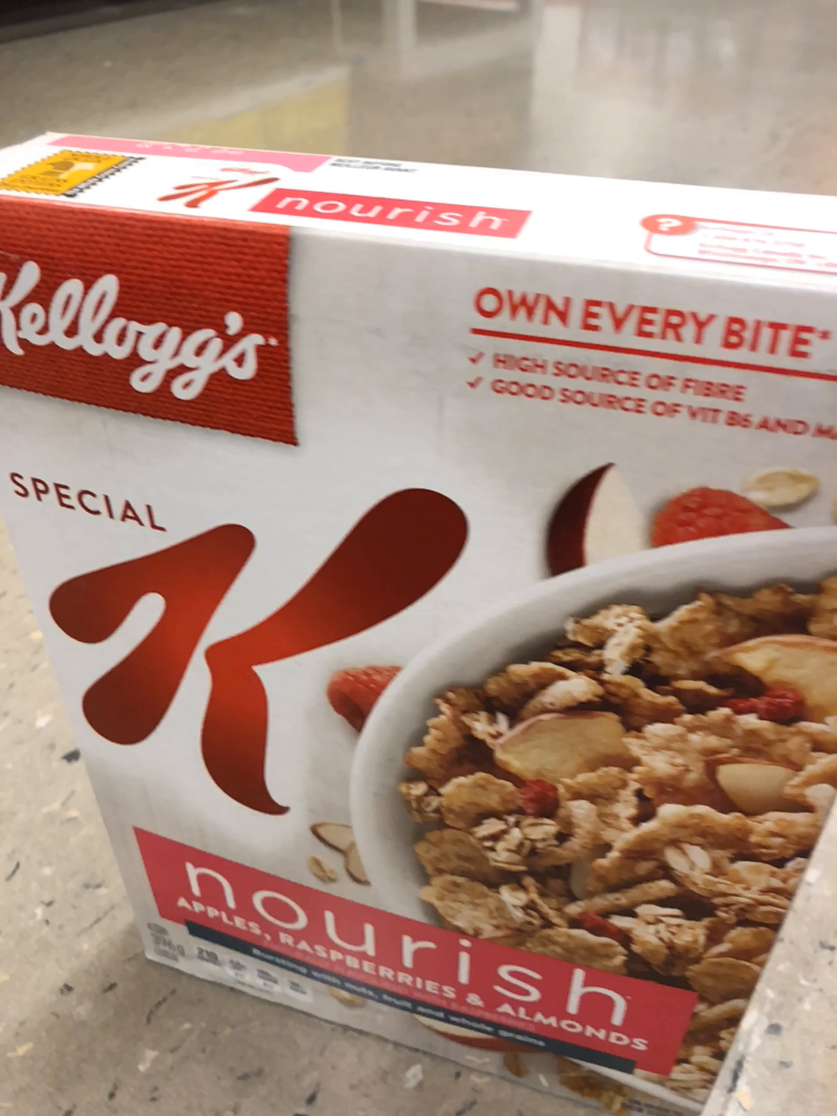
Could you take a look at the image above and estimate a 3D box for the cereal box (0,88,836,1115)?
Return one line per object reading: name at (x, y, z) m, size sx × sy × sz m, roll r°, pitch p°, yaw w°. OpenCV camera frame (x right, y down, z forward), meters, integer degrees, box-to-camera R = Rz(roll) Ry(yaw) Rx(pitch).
cereal box at (-0.001, 0.045, 0.251) m, size 0.210 × 0.289 × 0.050 m, roll 11°, pitch 40°, yaw 14°
